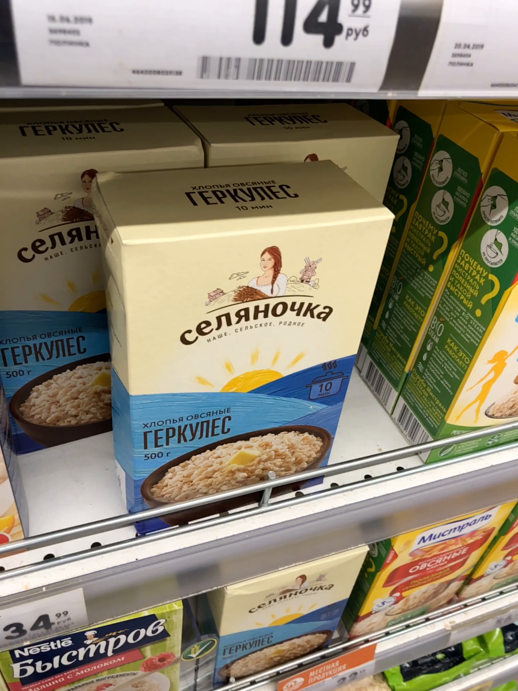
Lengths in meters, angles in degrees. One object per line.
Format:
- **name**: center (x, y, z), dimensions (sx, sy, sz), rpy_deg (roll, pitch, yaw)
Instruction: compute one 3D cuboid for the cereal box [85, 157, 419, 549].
- **cereal box**: center (-0.013, 0.011, 0.306), dimensions (0.130, 0.199, 0.060), rpy_deg (-9, 42, -19)
